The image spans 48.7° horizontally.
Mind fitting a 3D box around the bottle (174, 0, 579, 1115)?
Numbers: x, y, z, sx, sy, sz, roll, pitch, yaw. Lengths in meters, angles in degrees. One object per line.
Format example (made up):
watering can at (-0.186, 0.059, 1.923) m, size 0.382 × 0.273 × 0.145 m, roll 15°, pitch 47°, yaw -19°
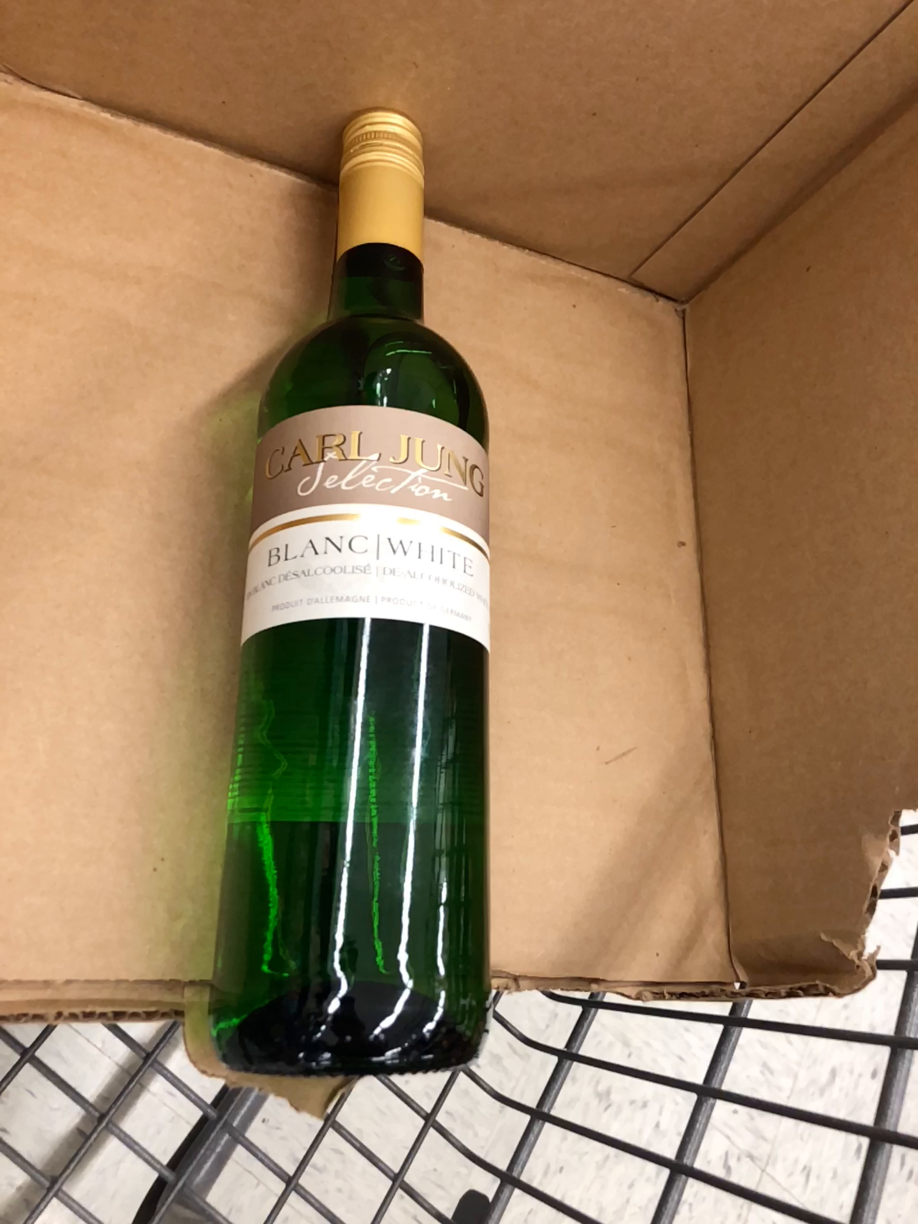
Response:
bottle at (-0.025, -0.044, 0.300) m, size 0.080 × 0.100 × 0.331 m, roll 6°, pitch 71°, yaw -15°
